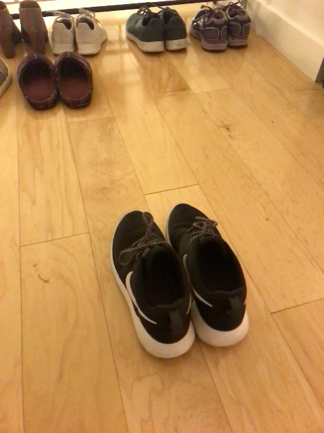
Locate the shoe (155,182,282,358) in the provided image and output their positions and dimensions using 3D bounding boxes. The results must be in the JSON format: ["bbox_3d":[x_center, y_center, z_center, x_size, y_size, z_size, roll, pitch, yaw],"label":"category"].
[{"bbox_3d":[0.074,0.073,0.585,0.110,0.089,0.272,-10,48,-11],"label":"shoe"}]

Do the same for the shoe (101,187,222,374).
[{"bbox_3d":[-0.015,0.084,0.559,0.110,0.089,0.272,-12,48,-12],"label":"shoe"}]
